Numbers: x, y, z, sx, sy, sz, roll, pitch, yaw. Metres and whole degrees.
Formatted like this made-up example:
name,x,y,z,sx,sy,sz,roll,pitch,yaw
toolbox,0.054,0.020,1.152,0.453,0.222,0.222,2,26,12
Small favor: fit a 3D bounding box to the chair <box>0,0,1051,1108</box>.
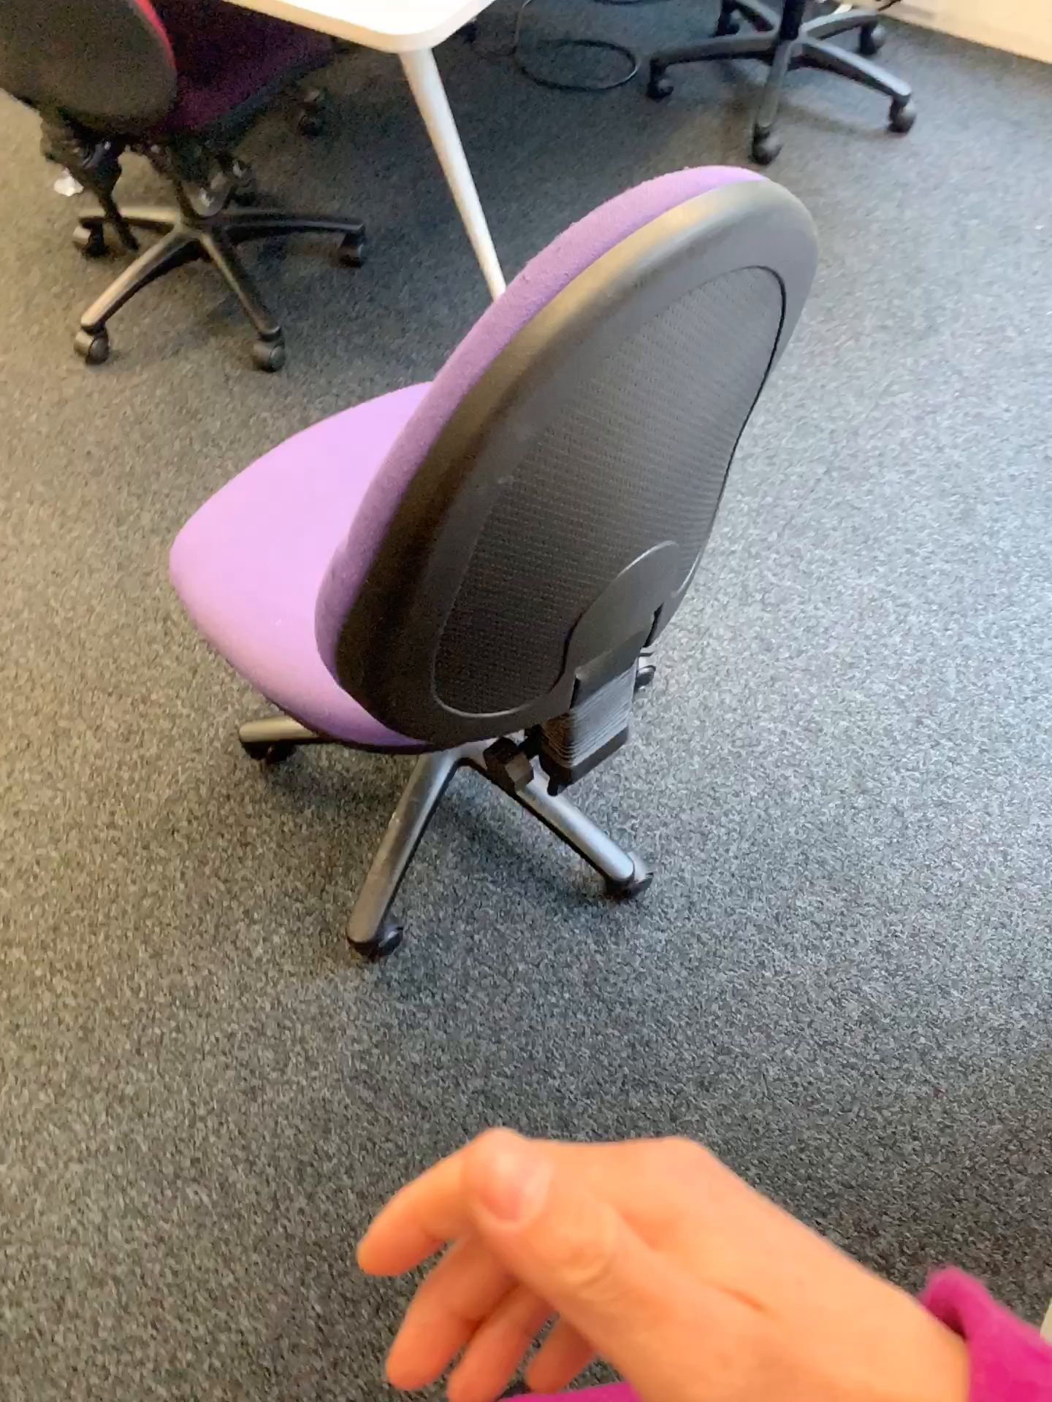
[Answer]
name,x,y,z,sx,sy,sz,roll,pitch,yaw
chair,-0.081,-0.168,1.117,0.670,0.986,0.637,-38,65,-21
